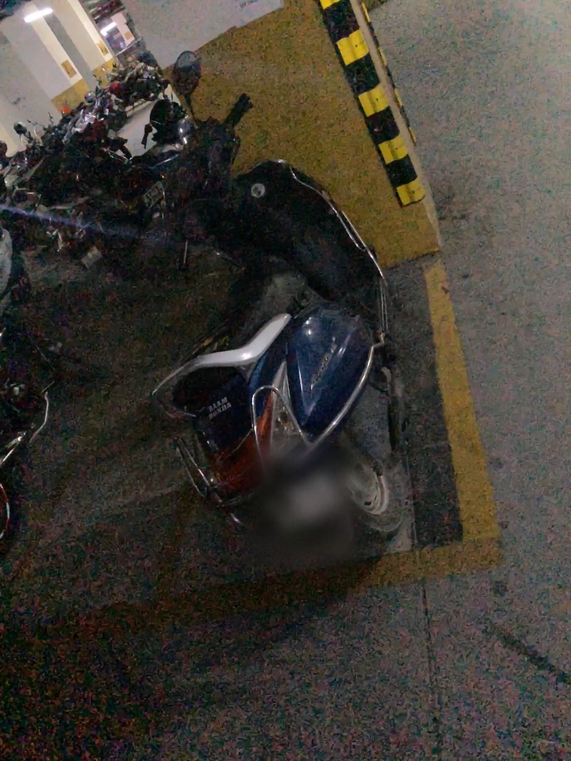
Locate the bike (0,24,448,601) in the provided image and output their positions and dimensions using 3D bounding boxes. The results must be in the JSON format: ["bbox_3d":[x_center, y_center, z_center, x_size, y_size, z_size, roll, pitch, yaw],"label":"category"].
[{"bbox_3d":[-0.175,-0.266,1.873,0.631,1.062,1.276,-25,39,13],"label":"bike"}]
